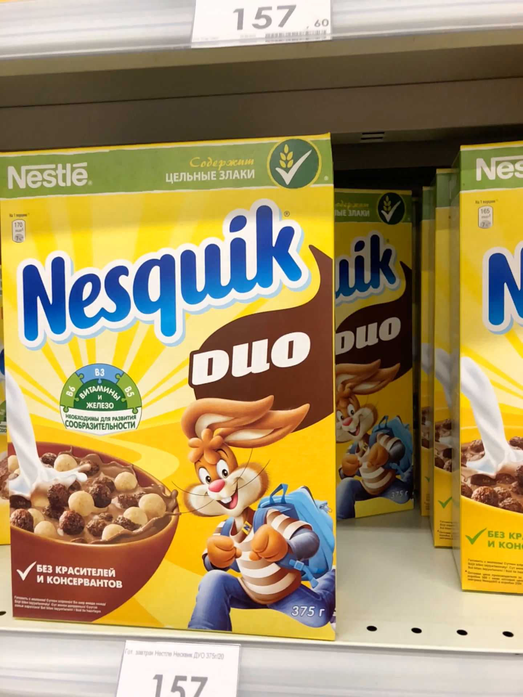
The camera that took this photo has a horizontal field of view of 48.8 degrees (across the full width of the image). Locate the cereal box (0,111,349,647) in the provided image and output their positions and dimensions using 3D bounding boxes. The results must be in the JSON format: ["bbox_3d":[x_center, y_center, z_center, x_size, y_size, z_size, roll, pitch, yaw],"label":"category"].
[{"bbox_3d":[-0.050,0.016,0.345,0.200,0.280,0.060,0,2,9],"label":"cereal box"}]
